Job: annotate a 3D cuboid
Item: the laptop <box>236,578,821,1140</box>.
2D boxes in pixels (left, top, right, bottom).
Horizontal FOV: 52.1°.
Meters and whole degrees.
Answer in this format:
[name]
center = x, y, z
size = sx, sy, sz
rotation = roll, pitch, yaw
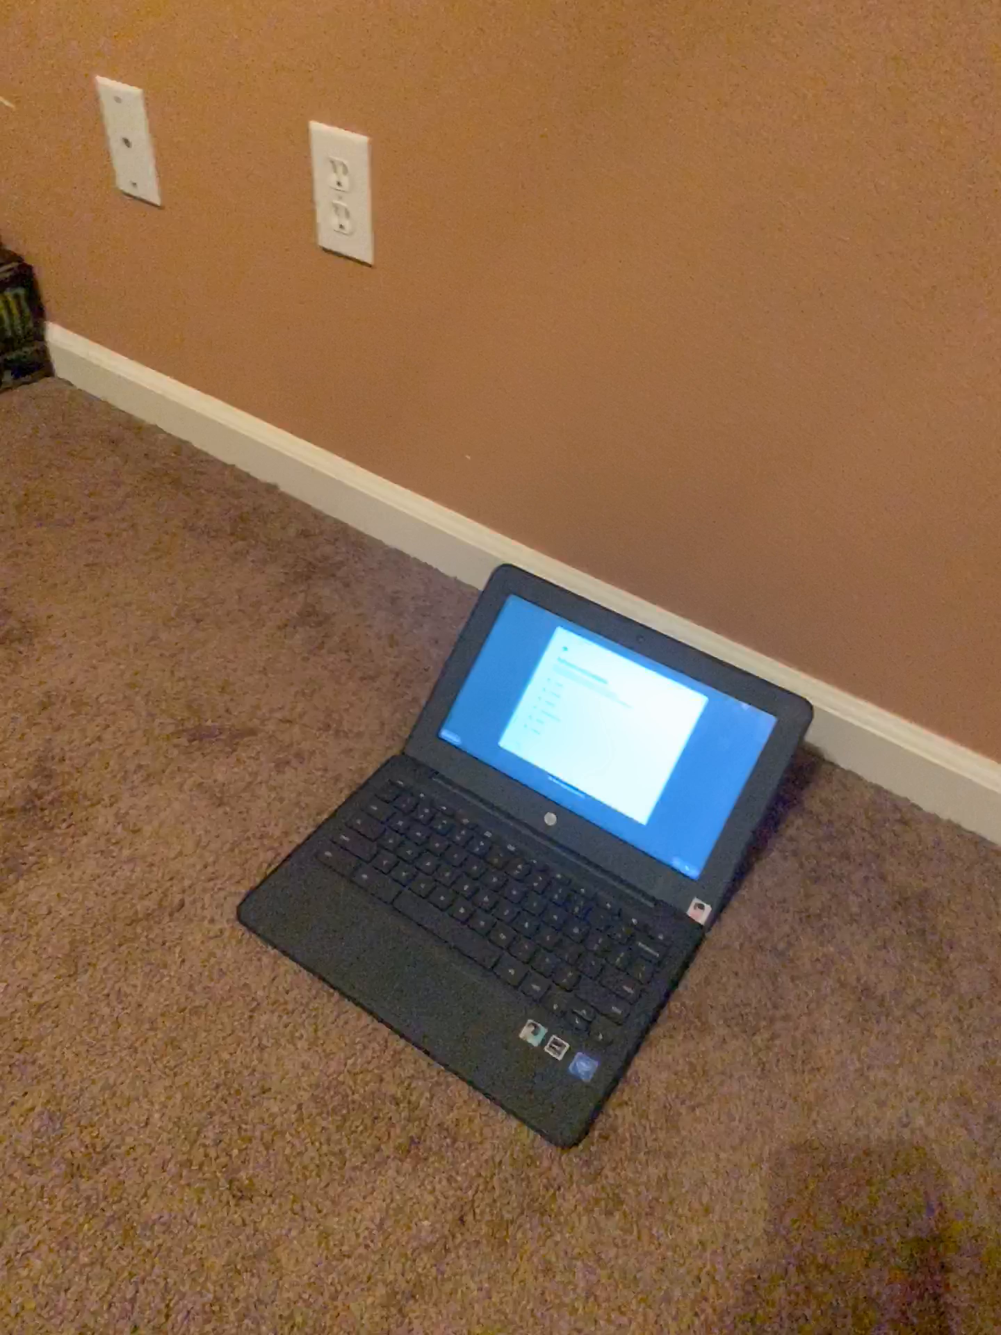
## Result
[laptop]
center = 0.030, 0.113, 0.783
size = 0.288, 0.124, 0.333
rotation = 27, 47, 23
